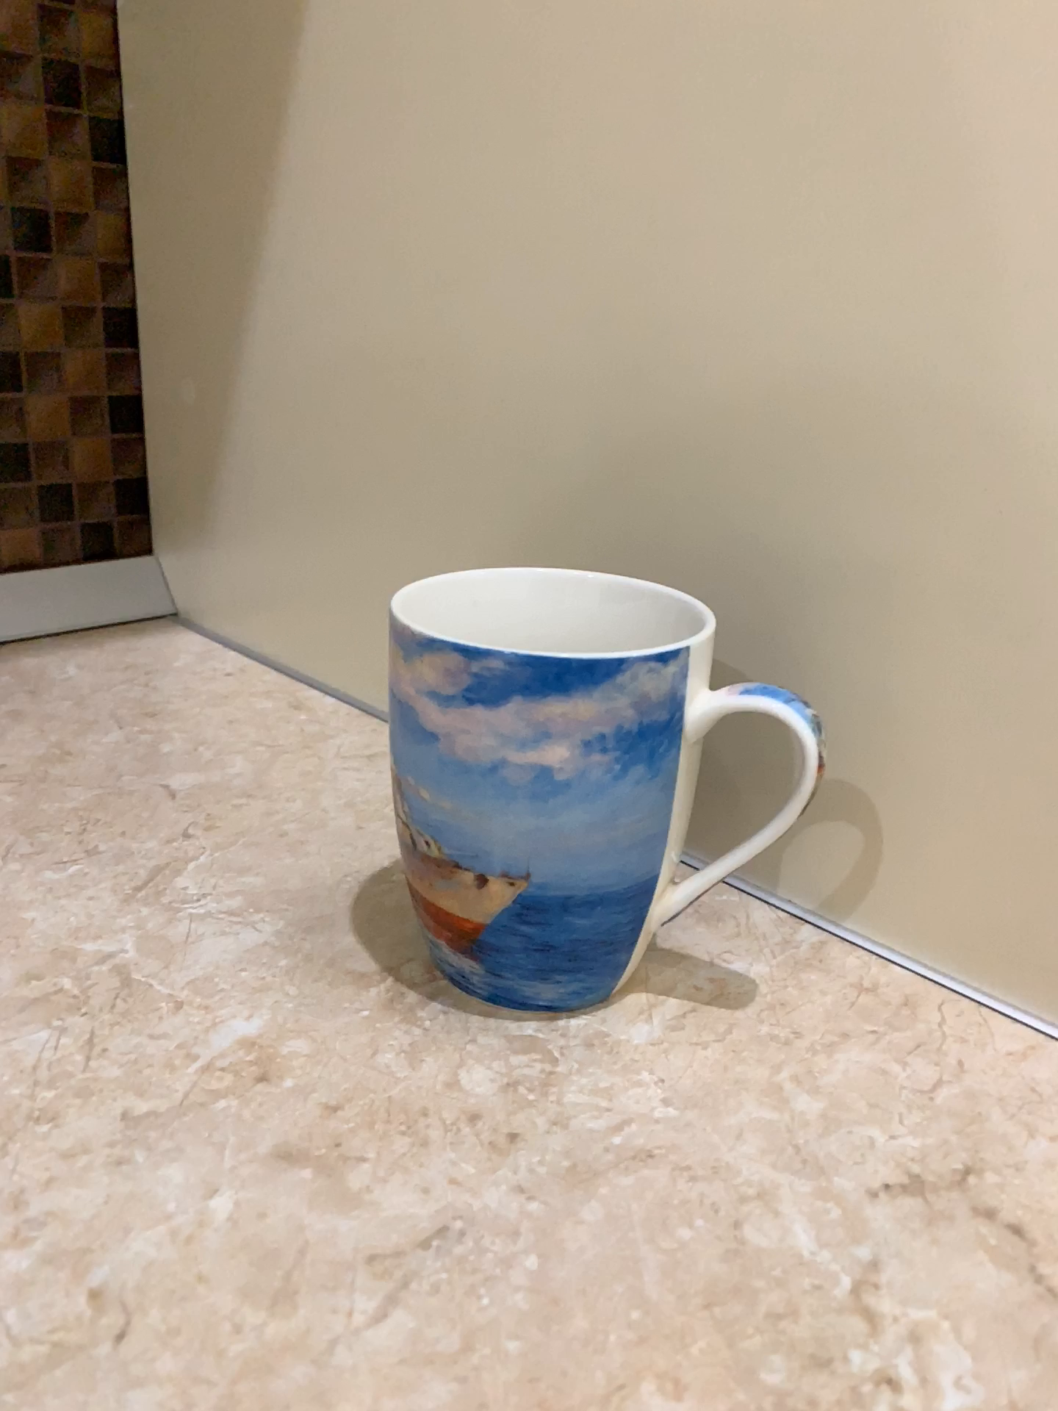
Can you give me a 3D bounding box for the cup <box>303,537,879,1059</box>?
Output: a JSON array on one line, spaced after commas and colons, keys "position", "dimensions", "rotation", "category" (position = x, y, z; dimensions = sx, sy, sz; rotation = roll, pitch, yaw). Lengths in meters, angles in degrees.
[{"position": [0.014, 0.015, 0.268], "dimensions": [0.114, 0.087, 0.083], "rotation": [6, 20, 8], "category": "cup"}]
